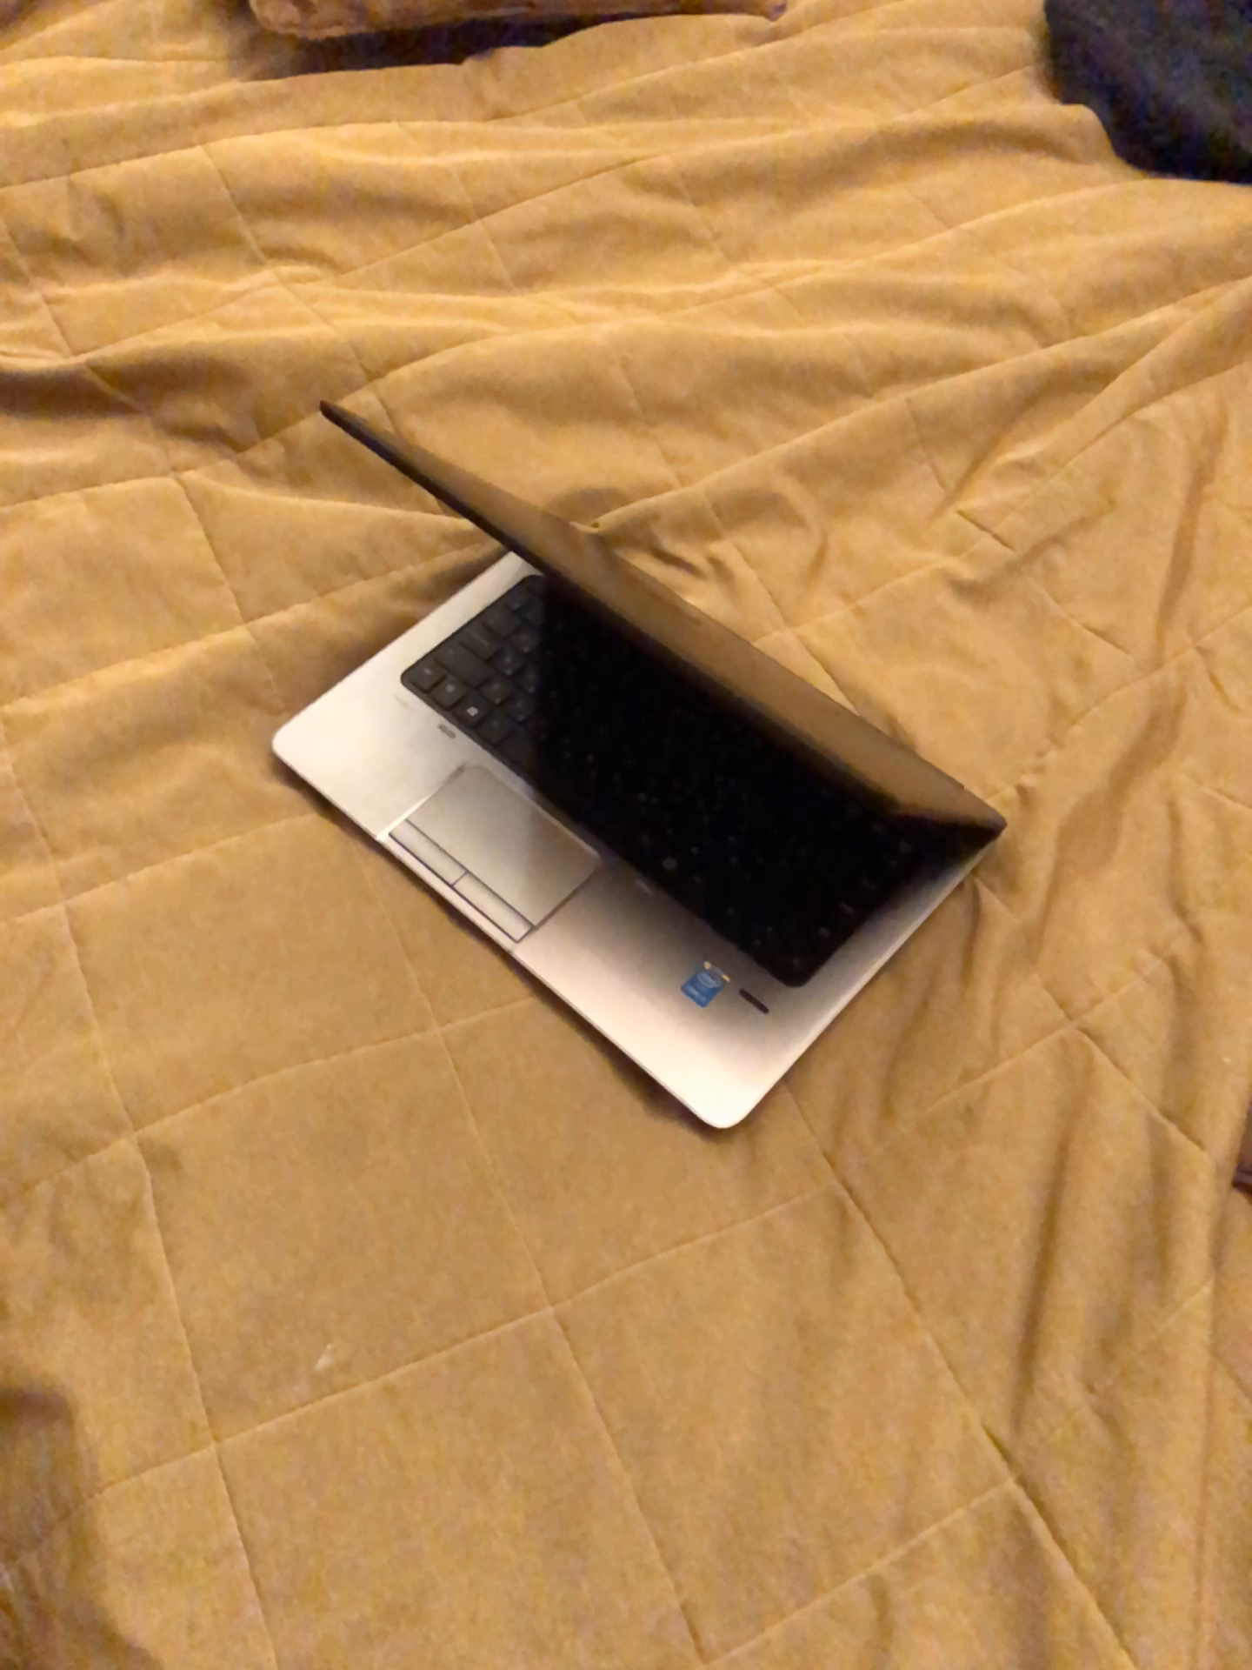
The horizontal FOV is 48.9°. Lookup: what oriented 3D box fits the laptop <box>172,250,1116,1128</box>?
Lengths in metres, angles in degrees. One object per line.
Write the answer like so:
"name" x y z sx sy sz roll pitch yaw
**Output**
"laptop" 0.003 -0.077 0.662 0.331 0.189 0.225 37 65 21
